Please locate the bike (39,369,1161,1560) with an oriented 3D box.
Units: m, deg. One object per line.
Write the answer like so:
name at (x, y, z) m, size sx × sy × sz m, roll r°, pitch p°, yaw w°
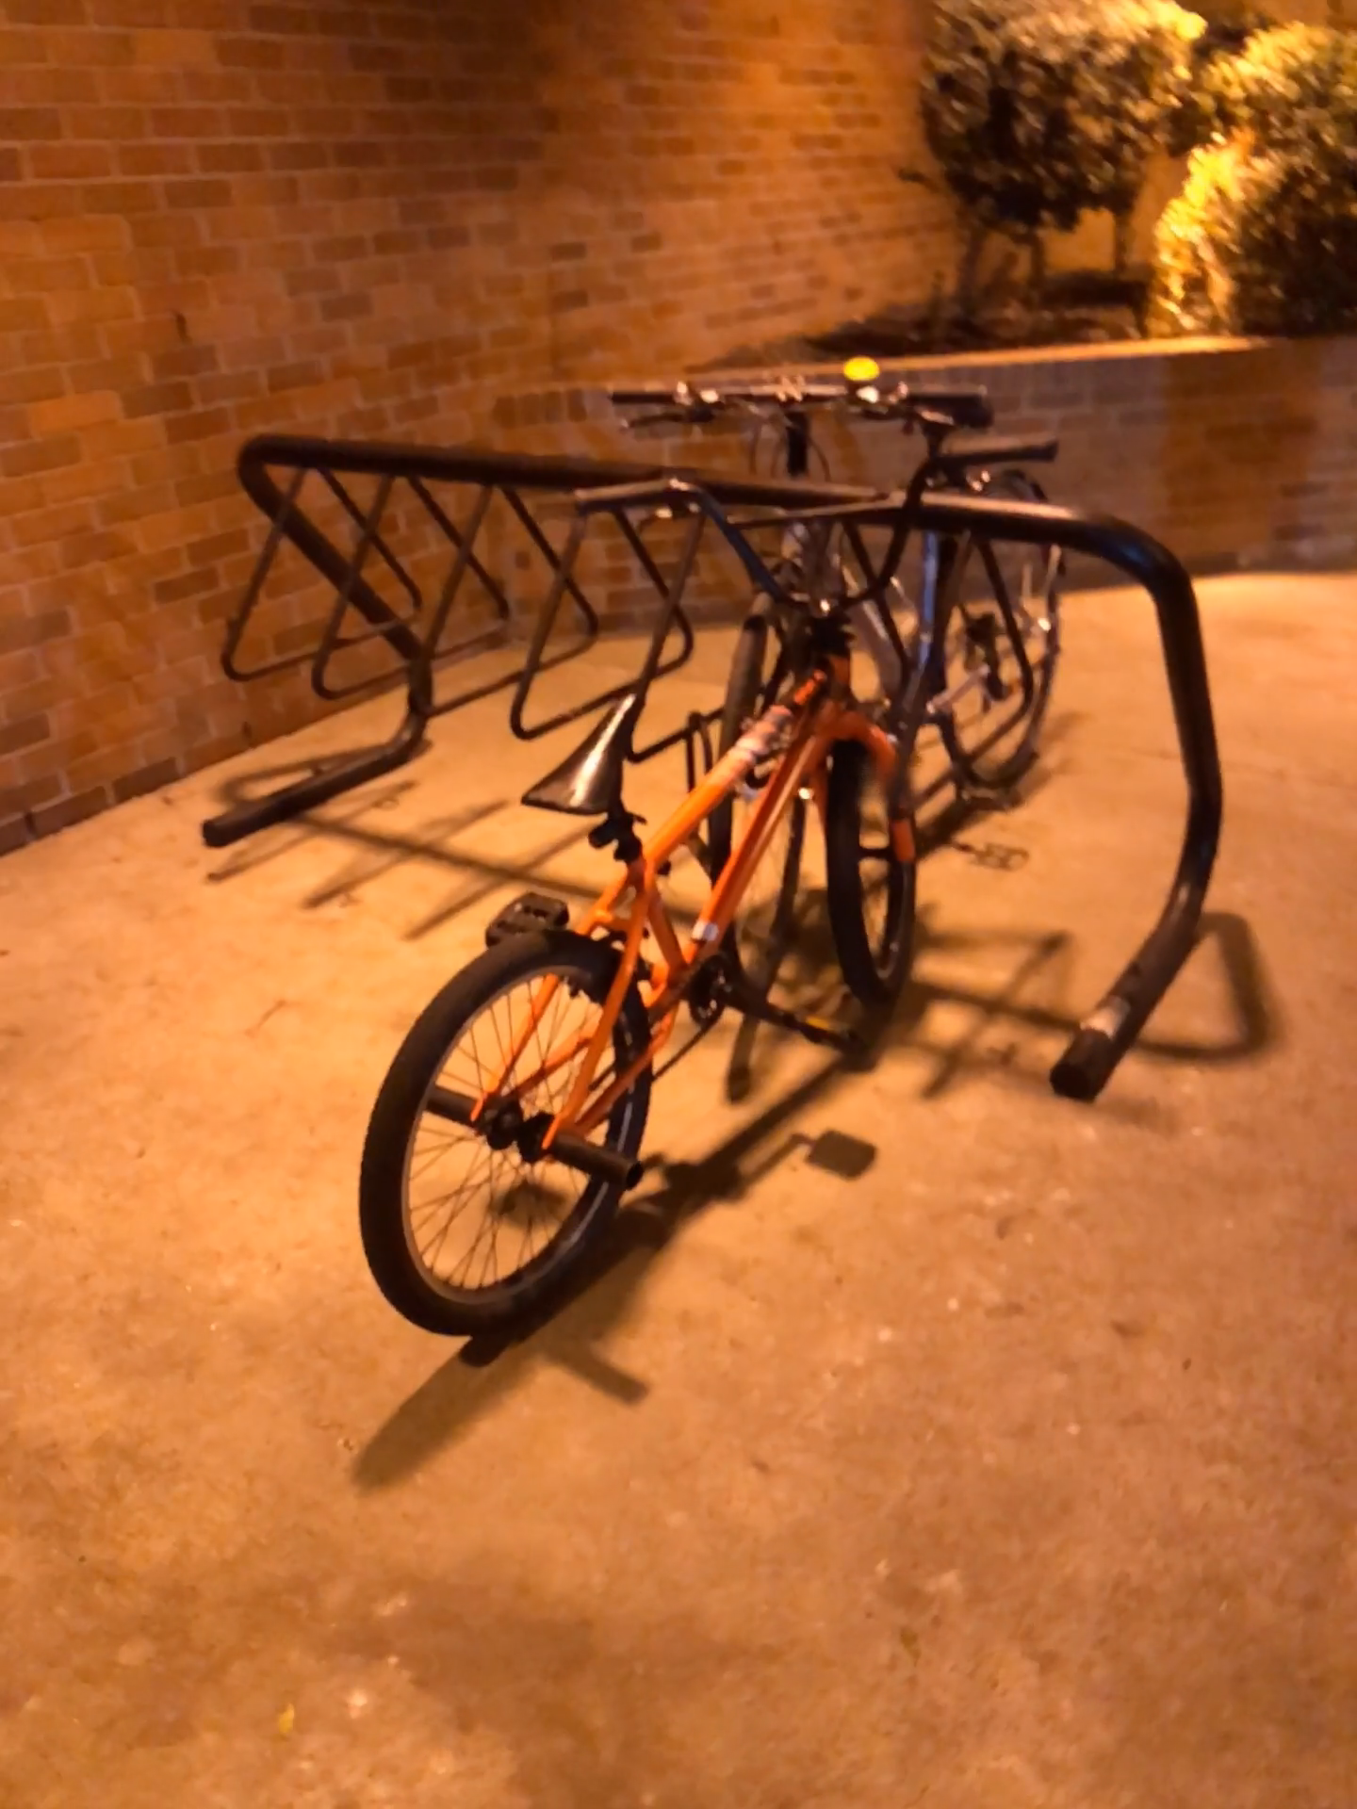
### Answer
bike at (0.033, -0.105, 1.973) m, size 0.745 × 0.927 × 1.295 m, roll 14°, pitch 32°, yaw 30°
